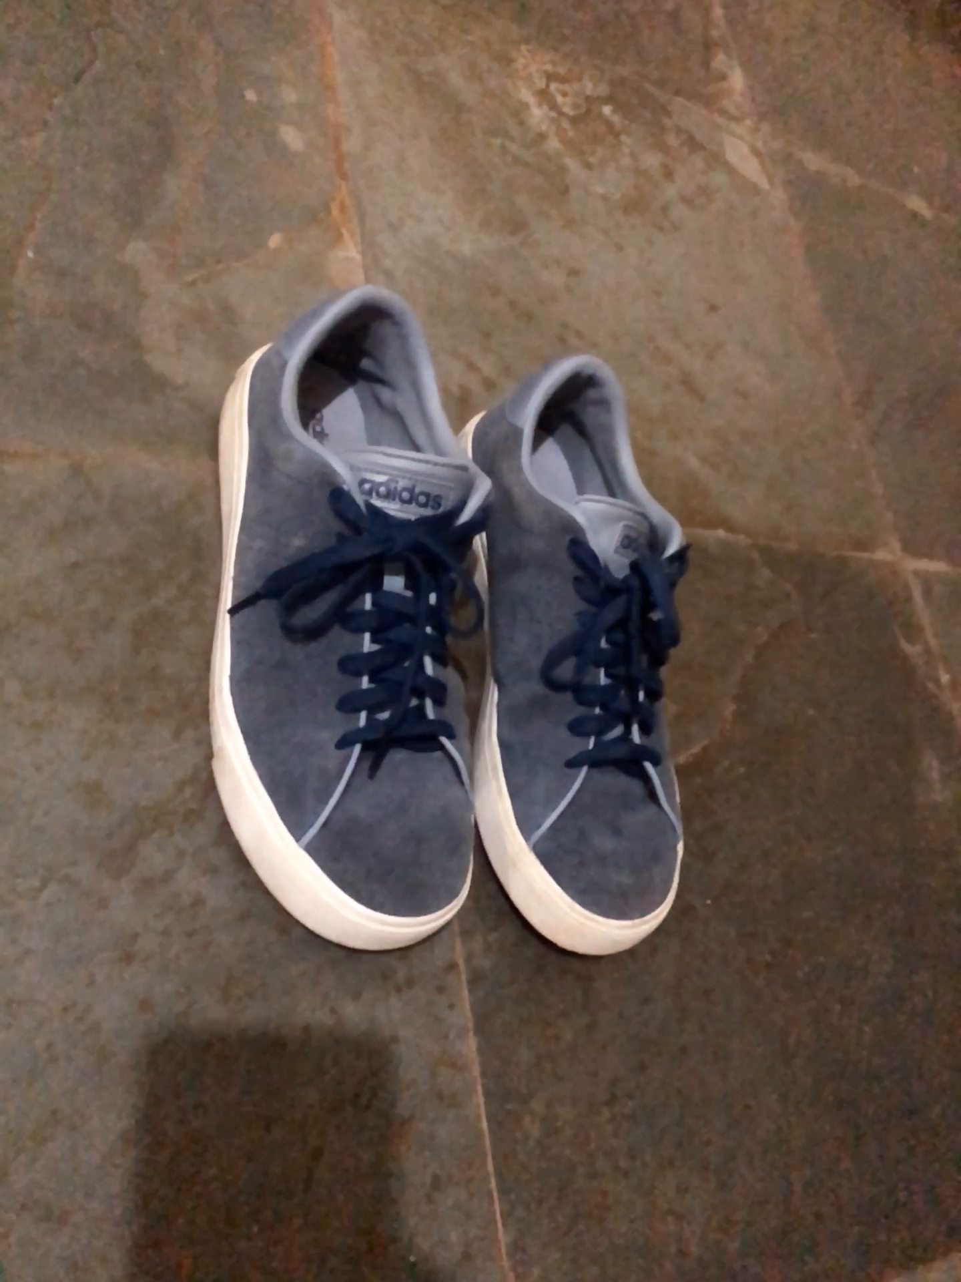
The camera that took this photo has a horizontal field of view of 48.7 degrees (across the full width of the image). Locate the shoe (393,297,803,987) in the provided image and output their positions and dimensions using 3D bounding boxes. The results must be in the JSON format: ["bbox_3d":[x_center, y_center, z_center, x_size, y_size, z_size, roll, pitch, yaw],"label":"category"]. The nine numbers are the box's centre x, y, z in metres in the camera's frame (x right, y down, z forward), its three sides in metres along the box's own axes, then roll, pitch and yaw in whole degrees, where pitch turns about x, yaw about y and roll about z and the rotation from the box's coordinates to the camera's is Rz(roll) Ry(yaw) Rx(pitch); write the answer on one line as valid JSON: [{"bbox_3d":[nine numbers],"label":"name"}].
[{"bbox_3d":[0.042,-0.002,0.472,0.111,0.079,0.281,6,64,-31],"label":"shoe"}]

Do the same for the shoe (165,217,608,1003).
[{"bbox_3d":[-0.046,-0.015,0.406,0.111,0.079,0.271,3,66,-32],"label":"shoe"}]
